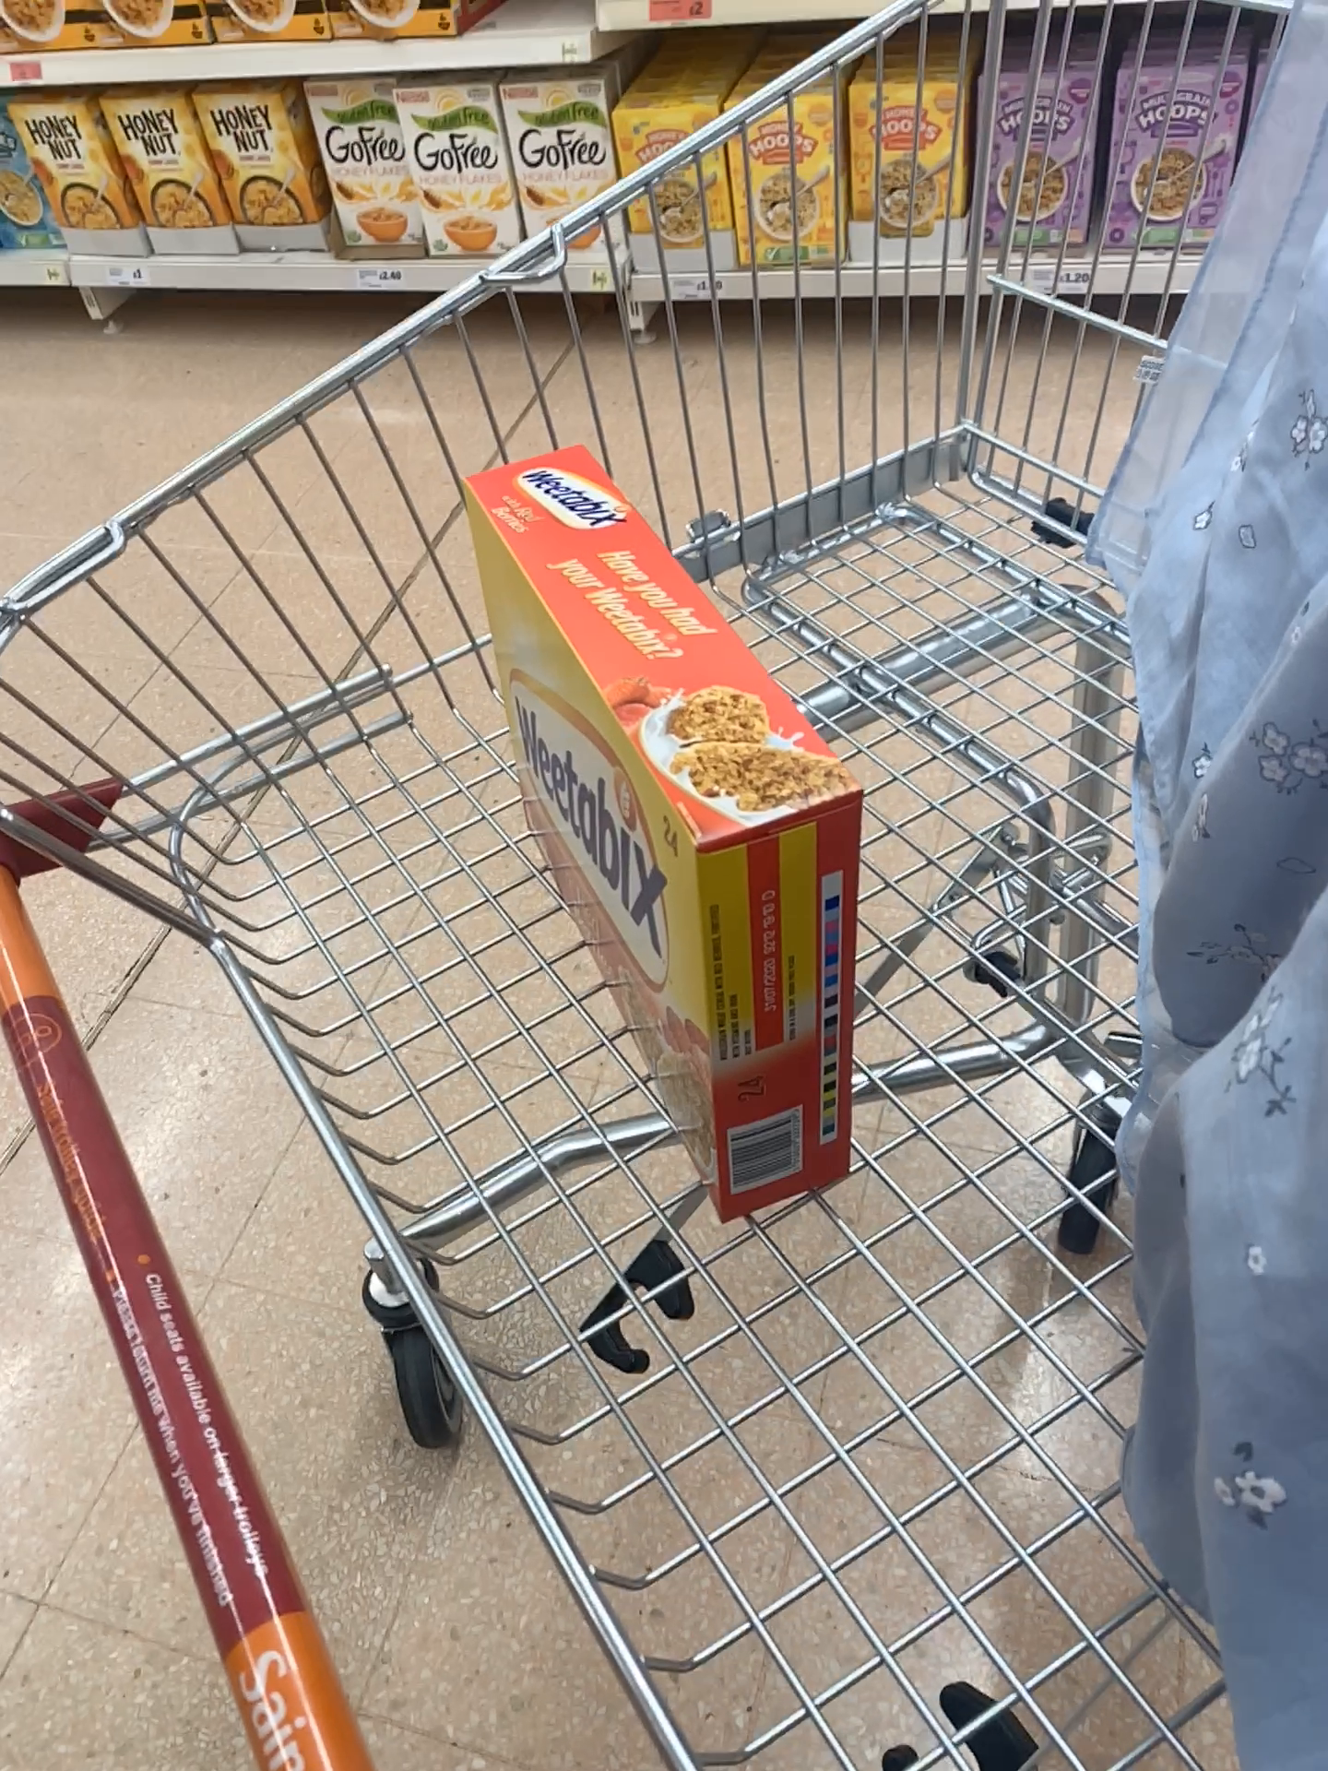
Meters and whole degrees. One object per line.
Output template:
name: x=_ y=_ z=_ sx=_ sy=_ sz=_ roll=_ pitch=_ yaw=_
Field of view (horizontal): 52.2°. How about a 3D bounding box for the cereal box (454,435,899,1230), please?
cereal box: x=-0.003 y=-0.030 z=0.538 sx=0.060 sy=0.188 sz=0.262 roll=-18 pitch=46 yaw=-13
